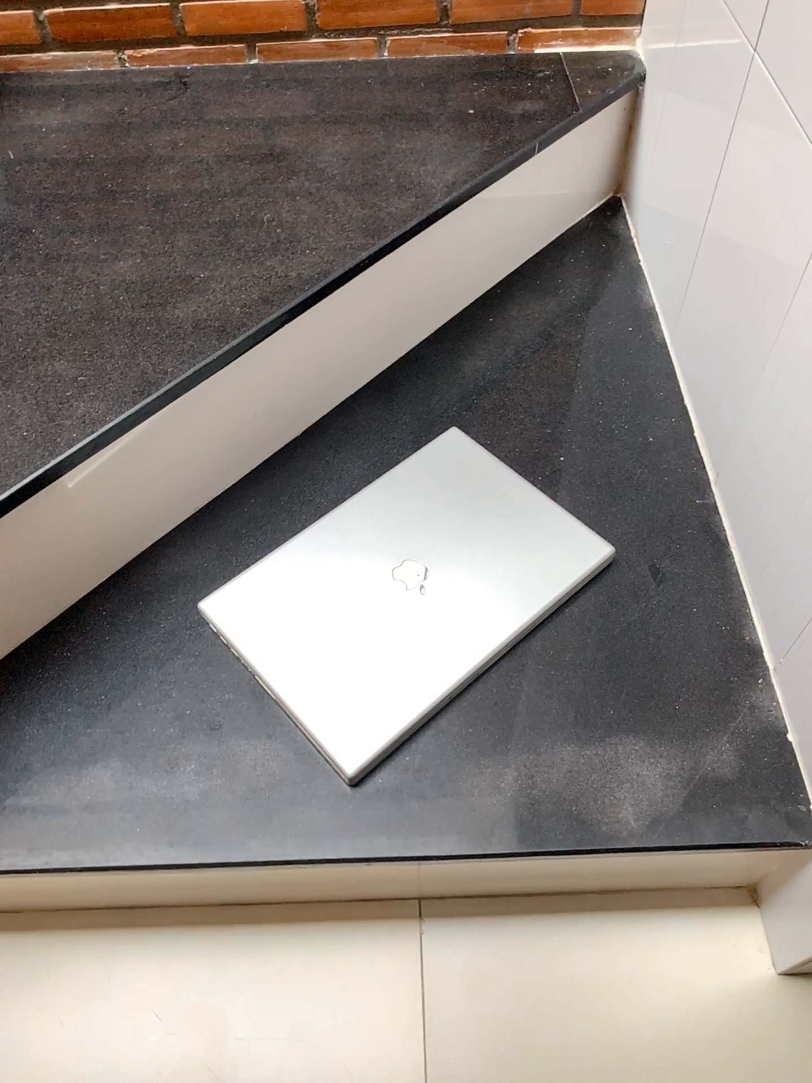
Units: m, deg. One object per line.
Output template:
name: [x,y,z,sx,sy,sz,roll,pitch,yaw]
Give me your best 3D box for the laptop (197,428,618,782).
laptop: [0.009,0.050,1.048,0.440,0.013,0.292,-37,64,-23]
